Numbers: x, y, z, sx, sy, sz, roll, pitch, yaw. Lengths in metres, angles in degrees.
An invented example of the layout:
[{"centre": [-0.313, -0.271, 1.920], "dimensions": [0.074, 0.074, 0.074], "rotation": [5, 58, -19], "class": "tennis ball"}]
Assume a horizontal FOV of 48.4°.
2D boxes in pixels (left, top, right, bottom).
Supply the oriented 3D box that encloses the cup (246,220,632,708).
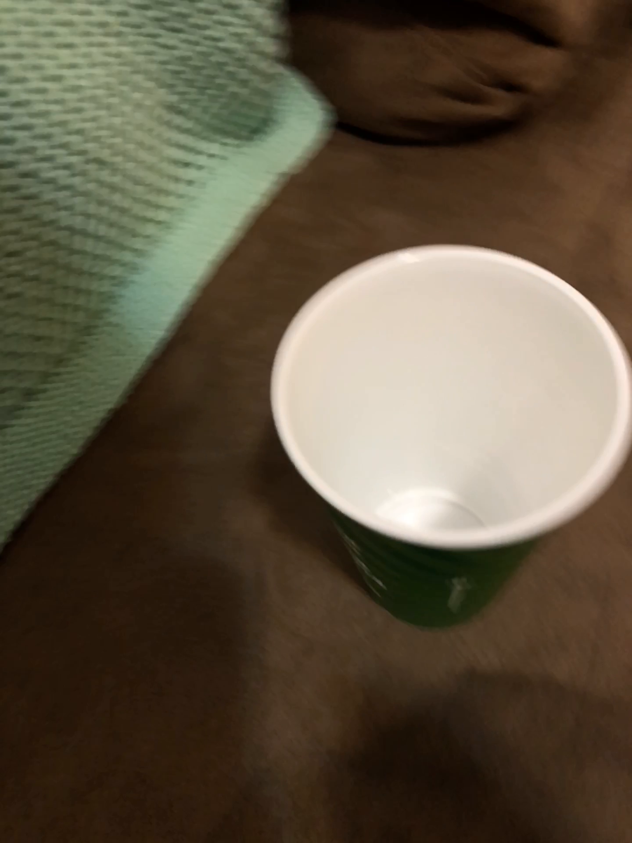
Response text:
[{"centre": [0.043, 0.025, 0.237], "dimensions": [0.100, 0.129, 0.100], "rotation": [-4, 58, 7], "class": "cup"}]
